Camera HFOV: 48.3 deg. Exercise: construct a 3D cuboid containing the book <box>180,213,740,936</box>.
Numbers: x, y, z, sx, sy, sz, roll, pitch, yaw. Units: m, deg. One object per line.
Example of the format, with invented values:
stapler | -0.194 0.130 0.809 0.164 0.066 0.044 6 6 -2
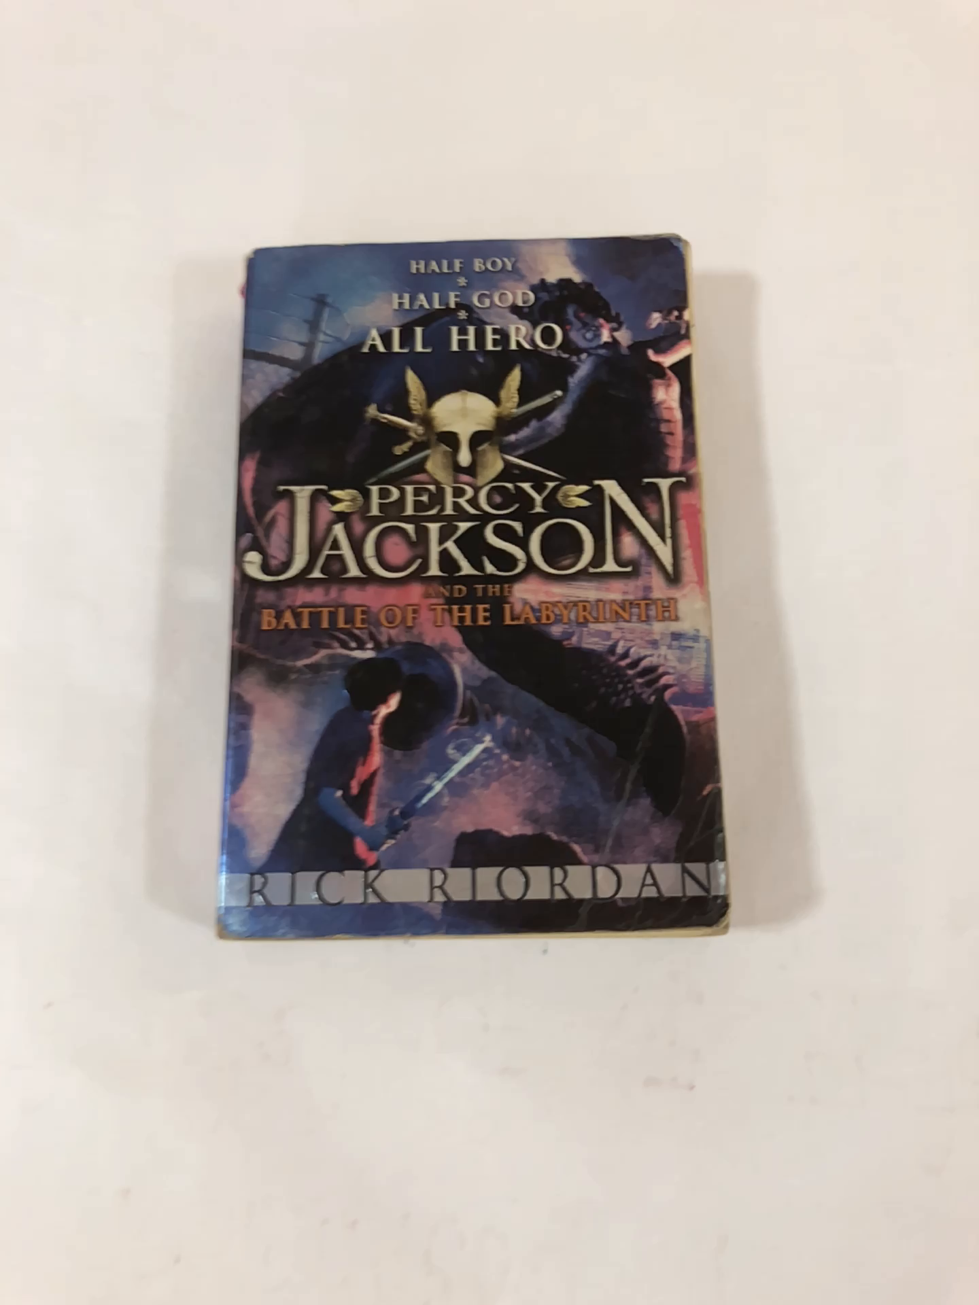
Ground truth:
book | -0.009 -0.023 0.297 0.130 0.040 0.190 -1 75 0
